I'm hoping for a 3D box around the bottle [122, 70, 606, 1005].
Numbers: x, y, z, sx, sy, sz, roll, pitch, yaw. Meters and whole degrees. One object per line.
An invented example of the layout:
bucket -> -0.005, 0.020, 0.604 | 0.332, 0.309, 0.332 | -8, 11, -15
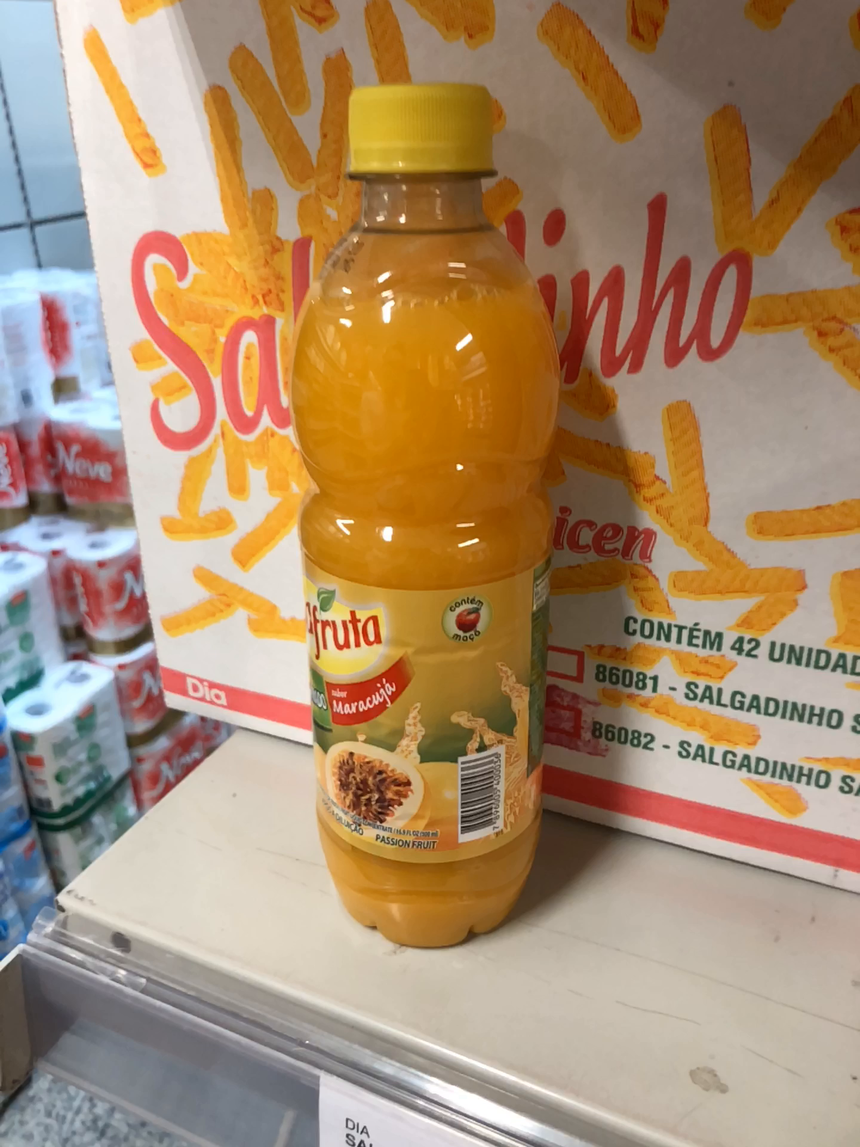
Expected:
bottle -> -0.009, -0.005, 0.227 | 0.070, 0.198, 0.060 | 19, 34, 36
